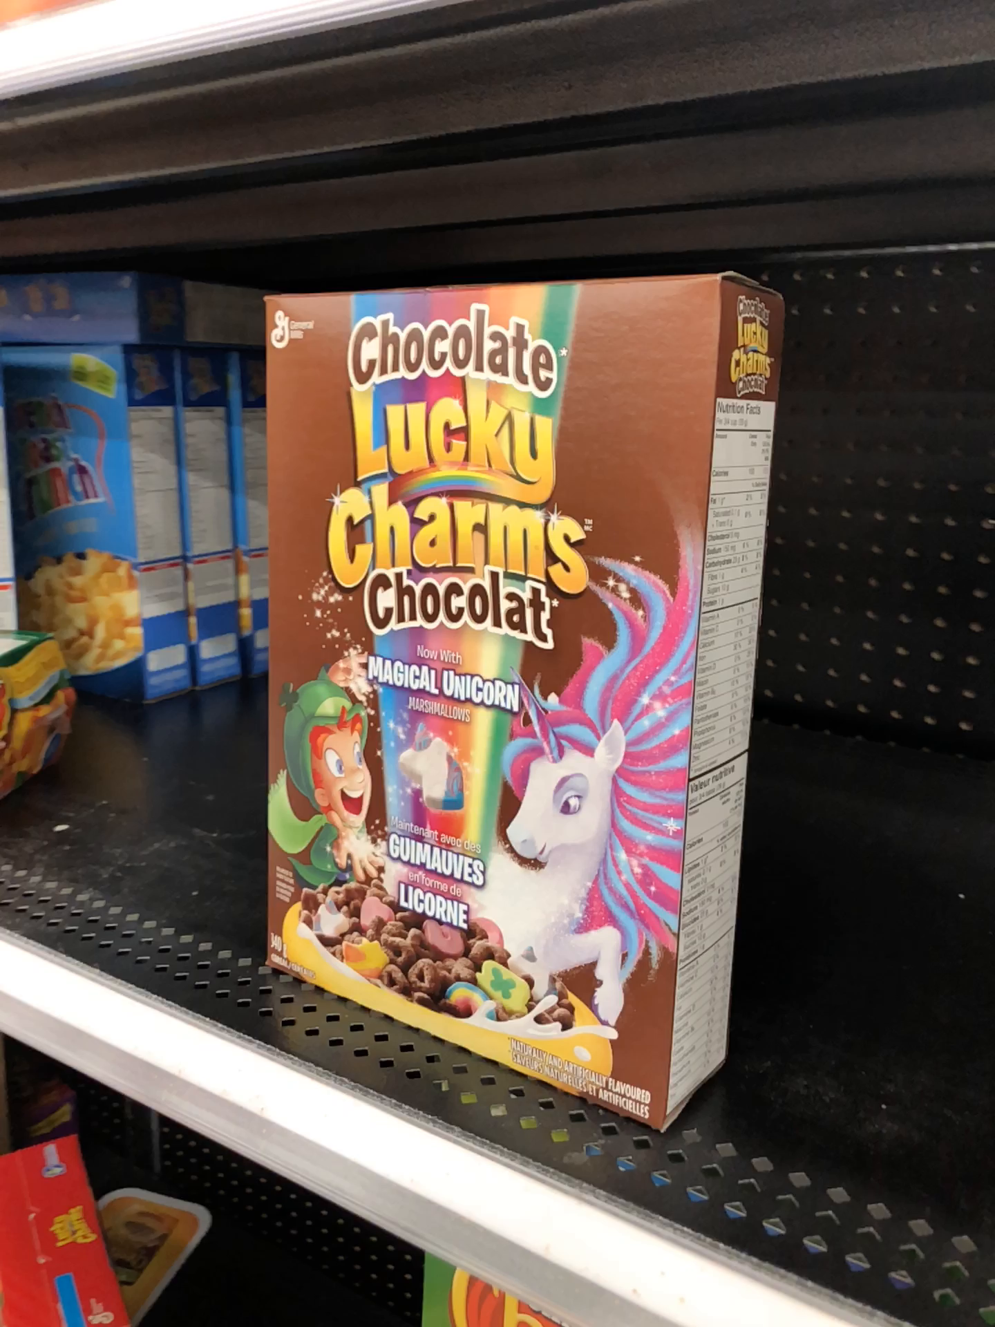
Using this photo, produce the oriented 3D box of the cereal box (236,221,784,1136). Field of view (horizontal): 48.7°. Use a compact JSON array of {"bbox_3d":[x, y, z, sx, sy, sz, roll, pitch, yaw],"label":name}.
[{"bbox_3d":[-0.008,-0.002,0.415,0.200,0.289,0.050,10,14,34],"label":"cereal box"}]
